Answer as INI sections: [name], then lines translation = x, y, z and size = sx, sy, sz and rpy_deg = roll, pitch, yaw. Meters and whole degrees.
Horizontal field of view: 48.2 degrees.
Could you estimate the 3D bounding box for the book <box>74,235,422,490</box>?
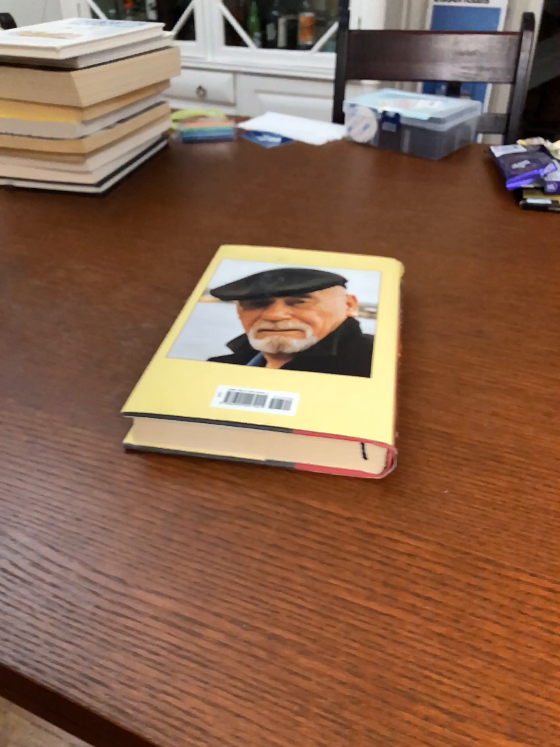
[book]
translation = 0.002, -0.030, 0.444
size = 0.190, 0.030, 0.251
rpy_deg = 6, 35, 9
